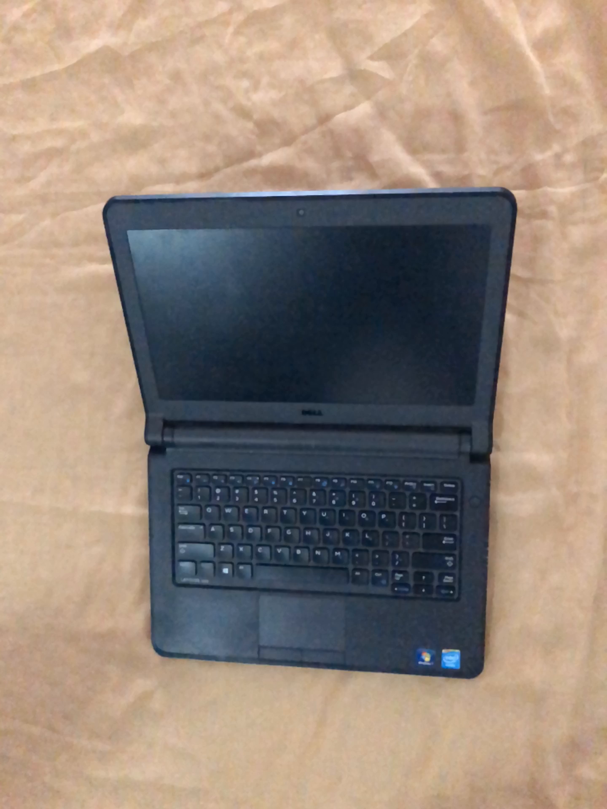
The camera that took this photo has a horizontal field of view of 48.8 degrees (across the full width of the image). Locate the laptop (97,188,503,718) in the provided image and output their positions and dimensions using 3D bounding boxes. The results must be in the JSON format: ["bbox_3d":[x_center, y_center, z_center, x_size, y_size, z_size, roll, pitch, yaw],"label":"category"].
[{"bbox_3d":[-0.002,0.041,0.573,0.308,0.092,0.409,1,97,7],"label":"laptop"}]
